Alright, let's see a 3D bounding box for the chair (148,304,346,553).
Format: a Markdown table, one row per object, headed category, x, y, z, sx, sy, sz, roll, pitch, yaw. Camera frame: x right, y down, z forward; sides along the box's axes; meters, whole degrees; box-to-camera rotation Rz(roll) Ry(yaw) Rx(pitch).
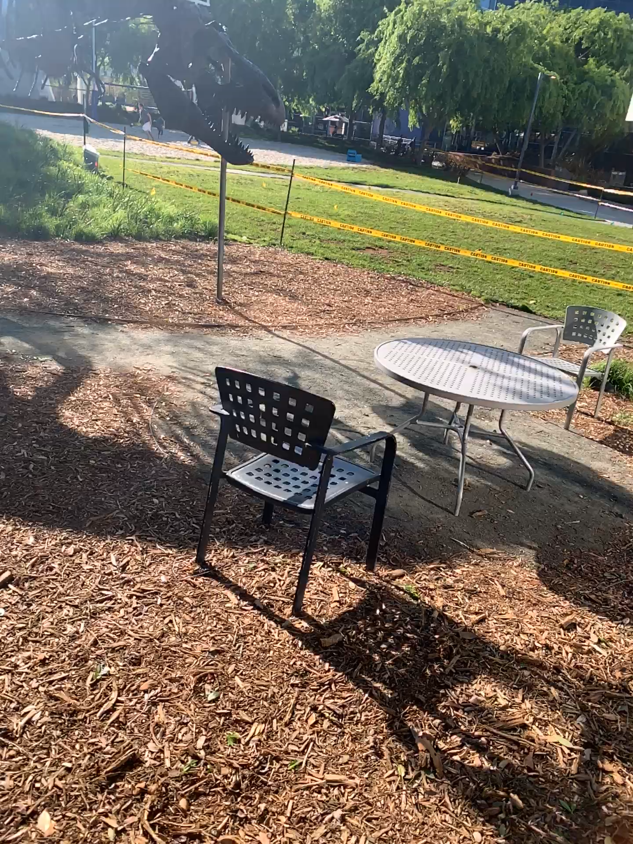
| category | x | y | z | sx | sy | sz | roll | pitch | yaw |
| --- | --- | --- | --- | --- | --- | --- | --- | --- | --- |
| chair | -0.284 | -0.007 | 2.500 | 0.521 | 0.716 | 0.501 | 23 | 29 | 31 |
